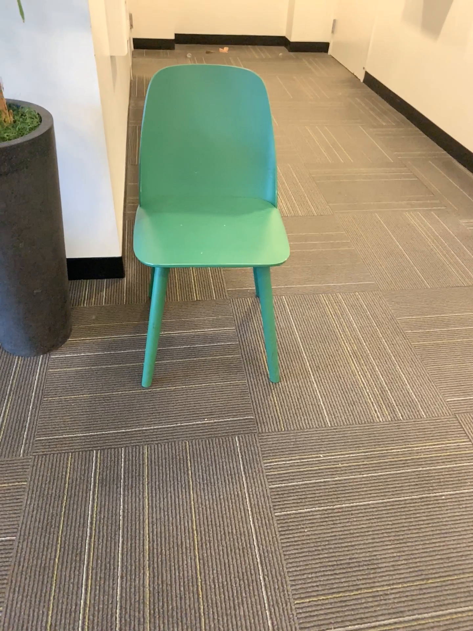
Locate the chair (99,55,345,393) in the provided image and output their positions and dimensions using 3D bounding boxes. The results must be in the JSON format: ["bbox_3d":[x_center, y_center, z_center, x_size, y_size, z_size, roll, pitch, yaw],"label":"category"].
[{"bbox_3d":[-0.072,-0.250,1.389,0.480,0.766,0.543,-2,41,-7],"label":"chair"}]
